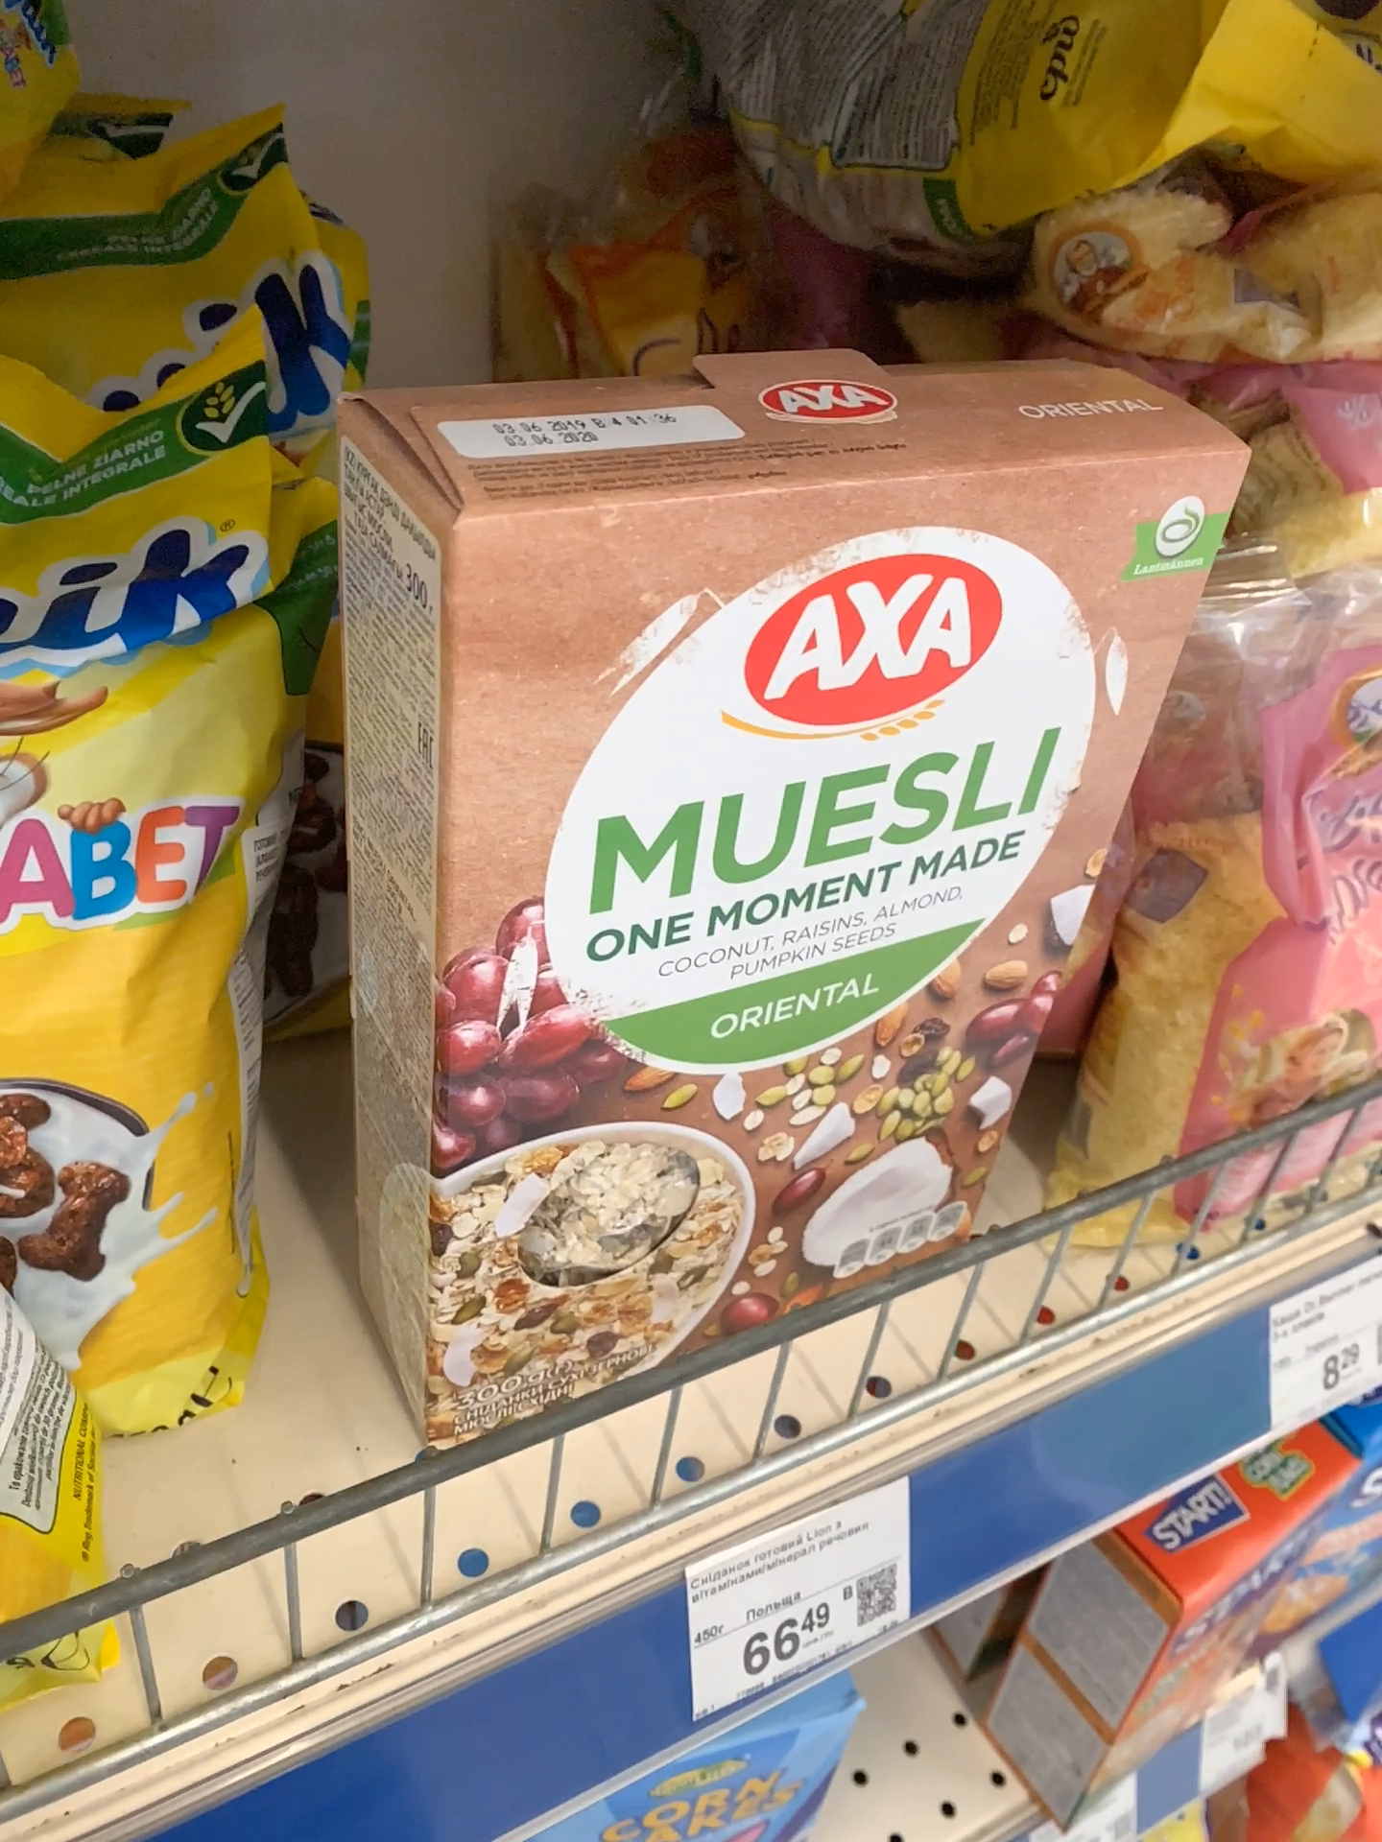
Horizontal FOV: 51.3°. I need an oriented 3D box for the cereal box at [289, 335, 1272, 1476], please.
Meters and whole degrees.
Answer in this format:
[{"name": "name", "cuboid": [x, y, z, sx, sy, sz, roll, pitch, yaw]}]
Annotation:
[{"name": "cereal box", "cuboid": [0.006, 0.004, 0.291, 0.150, 0.218, 0.050, -13, 43, -25]}]
